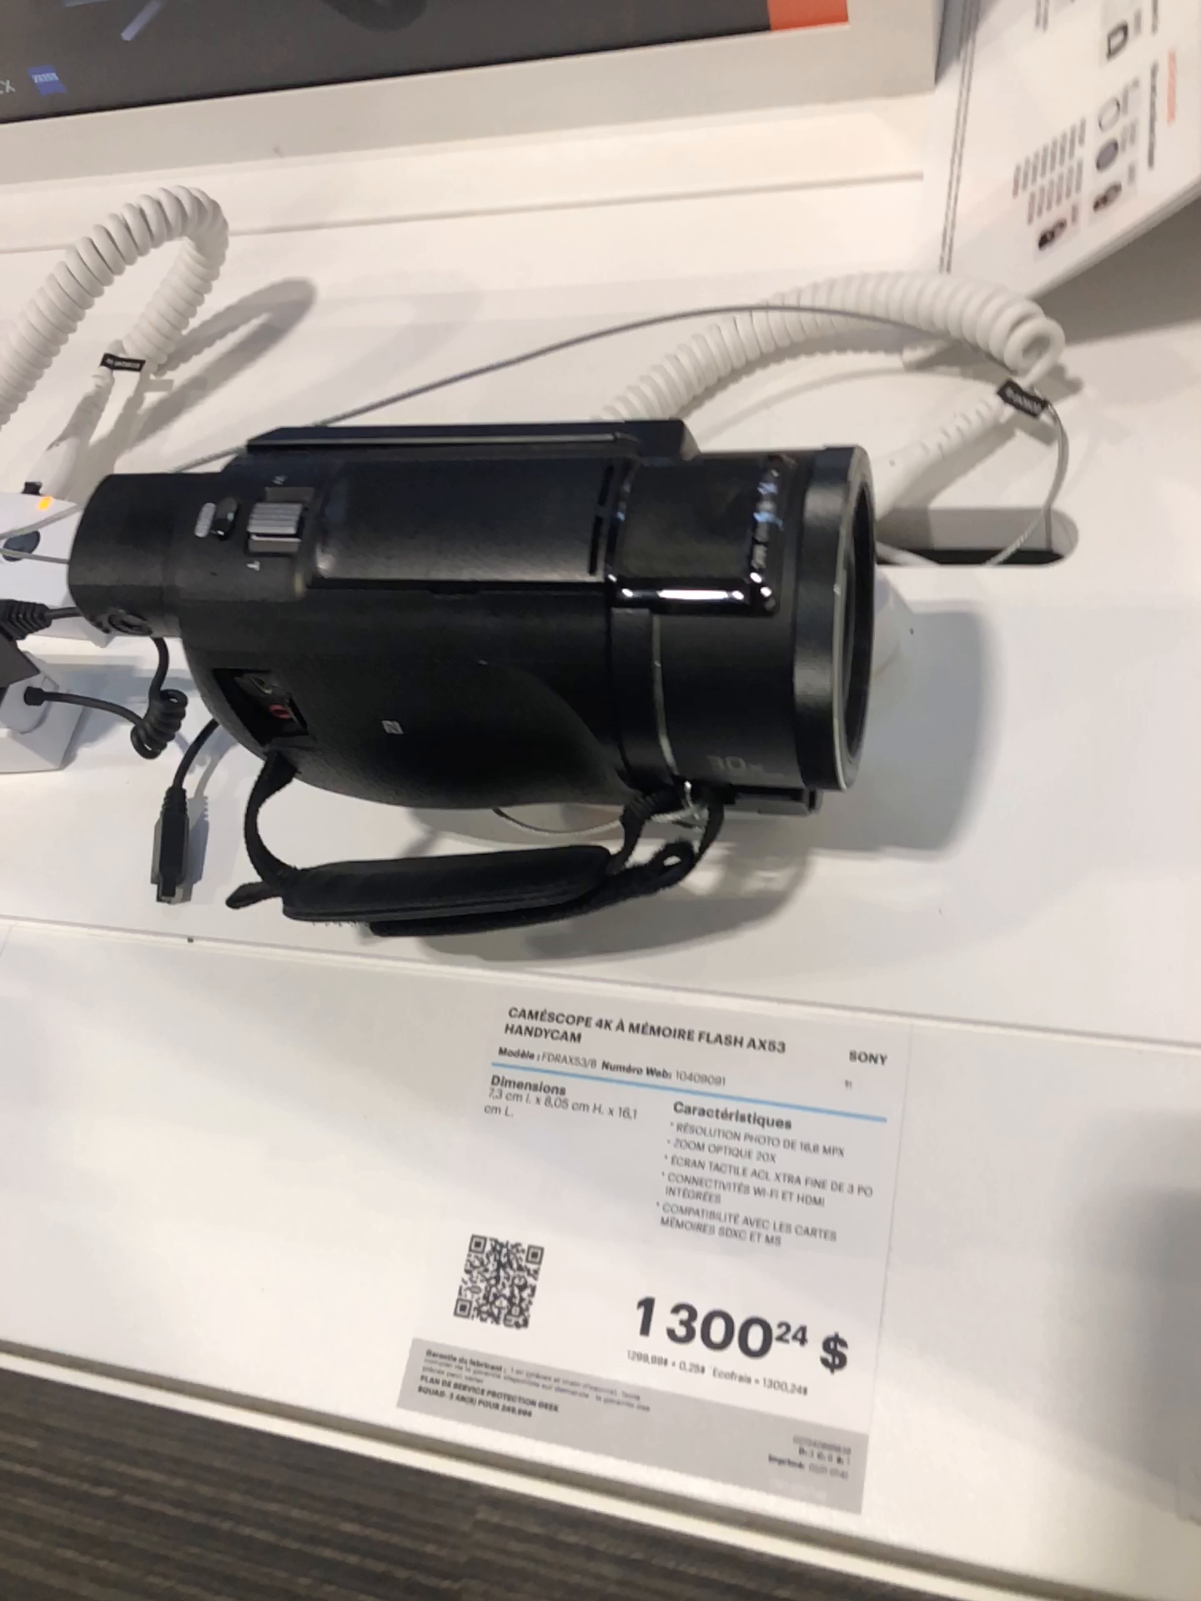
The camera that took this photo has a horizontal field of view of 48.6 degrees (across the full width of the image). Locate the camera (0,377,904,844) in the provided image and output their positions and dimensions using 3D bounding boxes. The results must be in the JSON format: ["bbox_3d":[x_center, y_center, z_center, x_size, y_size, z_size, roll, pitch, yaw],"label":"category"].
[{"bbox_3d":[-0.027,-0.038,0.280,0.168,0.066,0.061,3,63,18],"label":"camera"}]
